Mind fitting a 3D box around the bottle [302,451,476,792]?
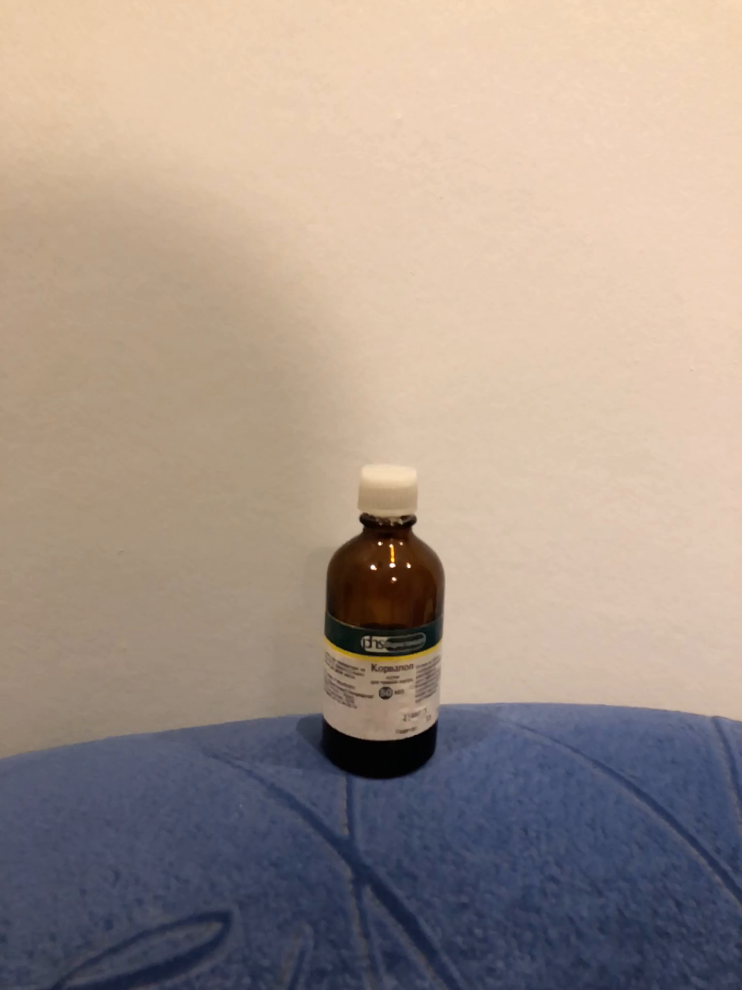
[{"bbox_3d":[0.003,0.038,0.266,0.045,0.100,0.040,0,12,-12],"label":"bottle"}]
